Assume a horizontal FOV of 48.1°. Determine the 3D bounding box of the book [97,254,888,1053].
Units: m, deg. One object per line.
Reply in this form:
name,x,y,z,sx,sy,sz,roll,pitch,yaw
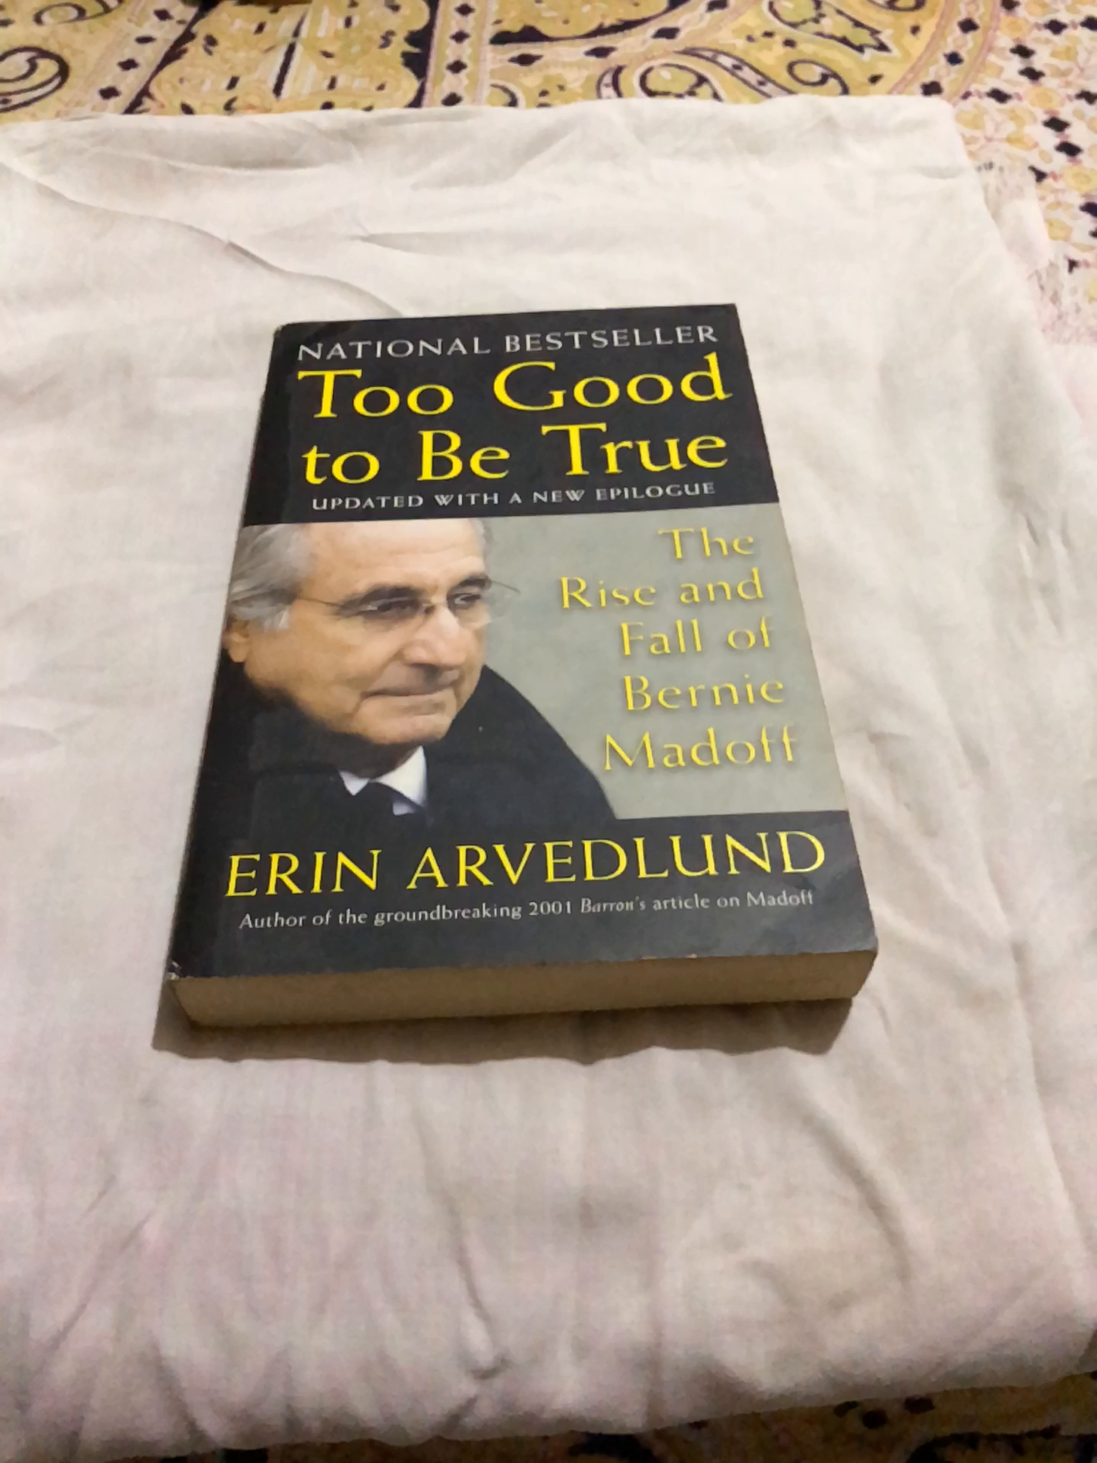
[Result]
book,-0.015,-0.038,0.314,0.150,0.030,0.231,-4,53,1
